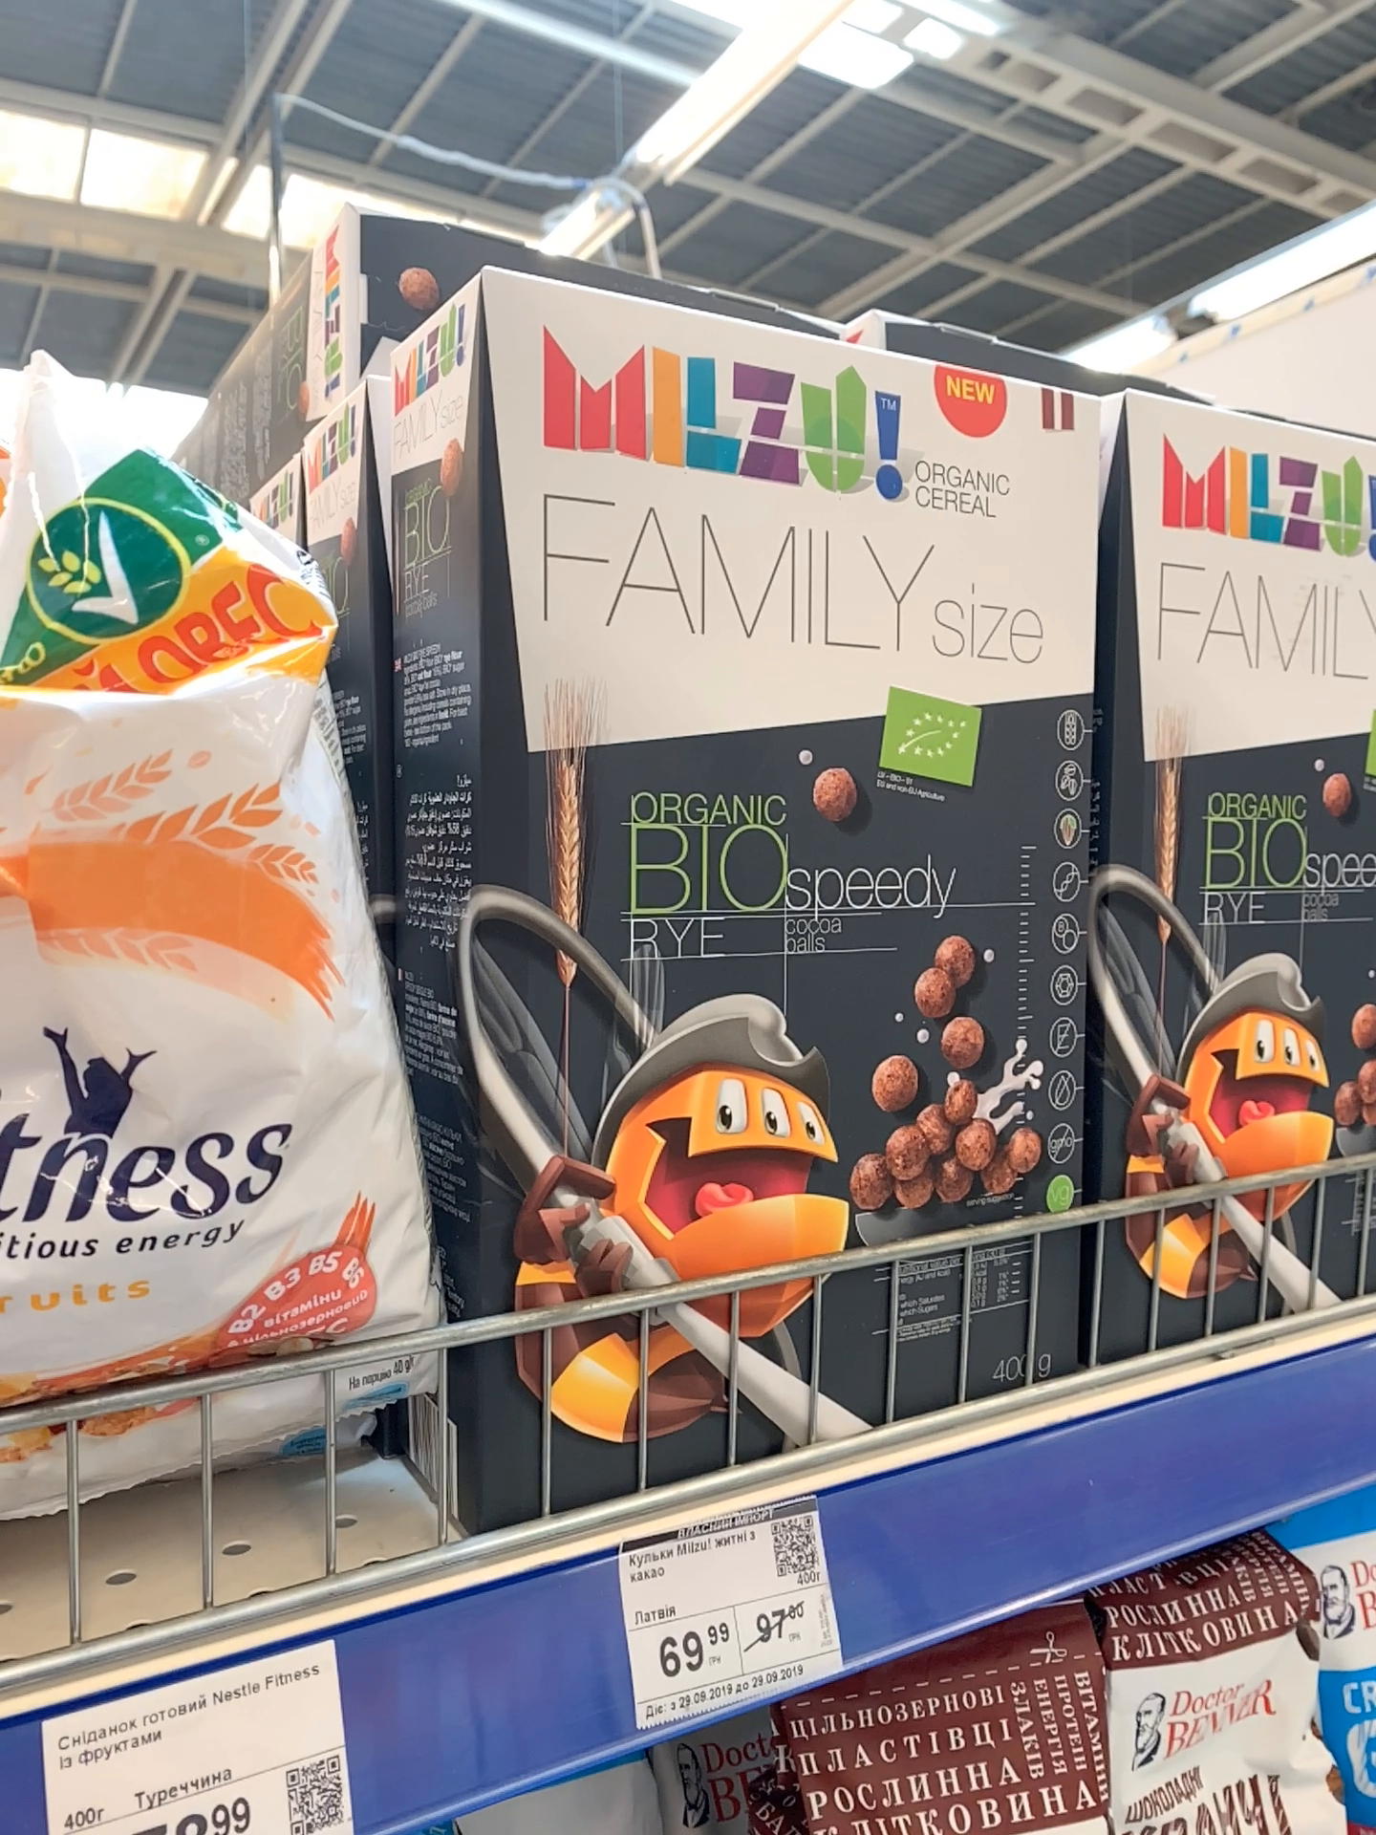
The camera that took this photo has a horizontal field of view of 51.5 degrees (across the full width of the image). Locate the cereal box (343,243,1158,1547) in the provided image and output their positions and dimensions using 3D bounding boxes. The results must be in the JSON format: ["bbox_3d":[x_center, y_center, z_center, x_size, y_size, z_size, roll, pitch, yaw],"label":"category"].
[{"bbox_3d":[0.019,-0.007,0.380,0.200,0.270,0.080,-1,4,-31],"label":"cereal box"}]
